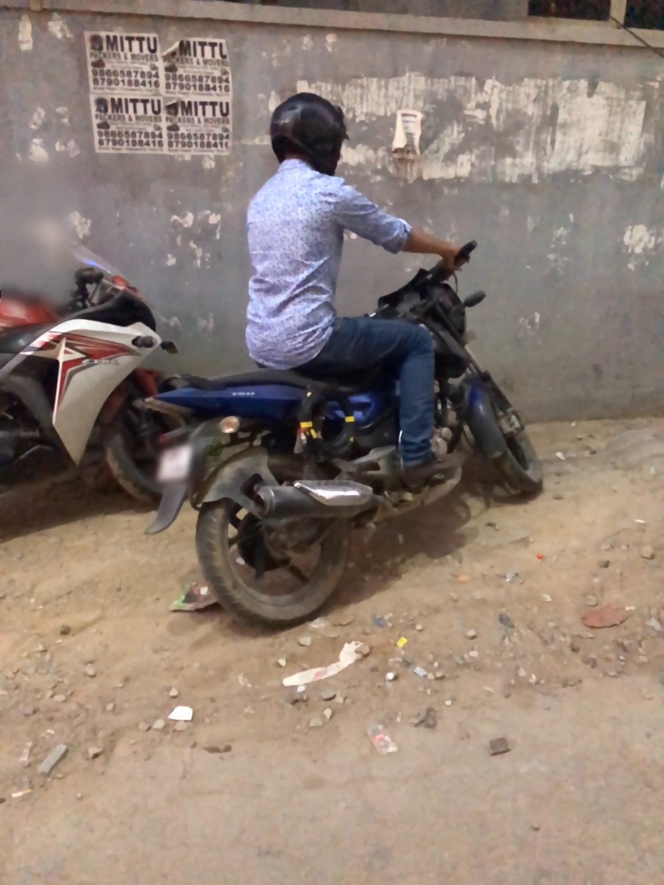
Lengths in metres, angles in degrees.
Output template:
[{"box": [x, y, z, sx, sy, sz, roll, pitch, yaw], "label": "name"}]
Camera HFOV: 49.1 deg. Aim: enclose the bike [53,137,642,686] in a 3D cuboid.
[{"box": [0.104, -0.306, 2.590, 1.092, 1.113, 1.509, 18, 35, 36], "label": "bike"}]
